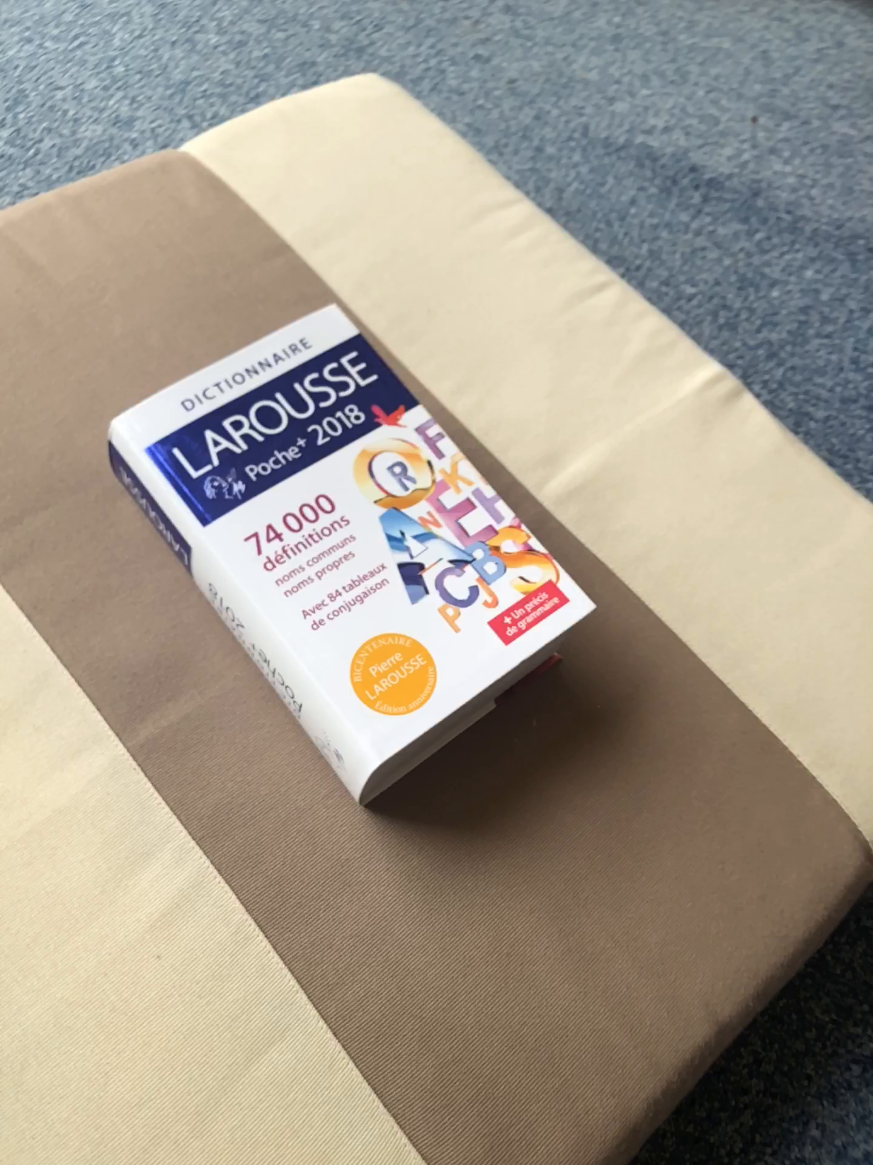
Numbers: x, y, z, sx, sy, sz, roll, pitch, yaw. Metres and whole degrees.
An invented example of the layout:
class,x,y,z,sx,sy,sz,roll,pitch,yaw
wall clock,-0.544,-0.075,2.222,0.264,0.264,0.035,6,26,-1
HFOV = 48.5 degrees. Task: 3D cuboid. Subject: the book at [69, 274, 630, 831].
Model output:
class,x,y,z,sx,sy,sz,roll,pitch,yaw
book,-0.040,-0.021,0.412,0.130,0.060,0.200,-33,71,-24
